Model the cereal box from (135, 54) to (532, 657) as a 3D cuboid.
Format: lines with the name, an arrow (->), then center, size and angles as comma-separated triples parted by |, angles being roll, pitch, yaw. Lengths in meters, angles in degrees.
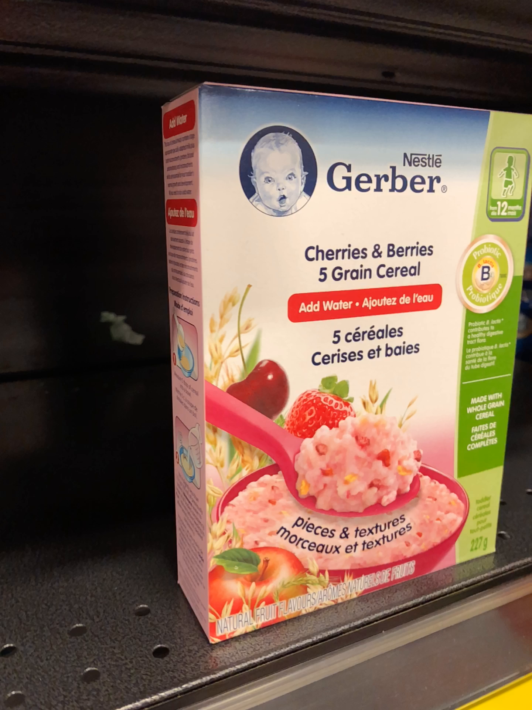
cereal box -> 0.030, 0.000, 0.242 | 0.150, 0.200, 0.040 | -6, 14, -25
